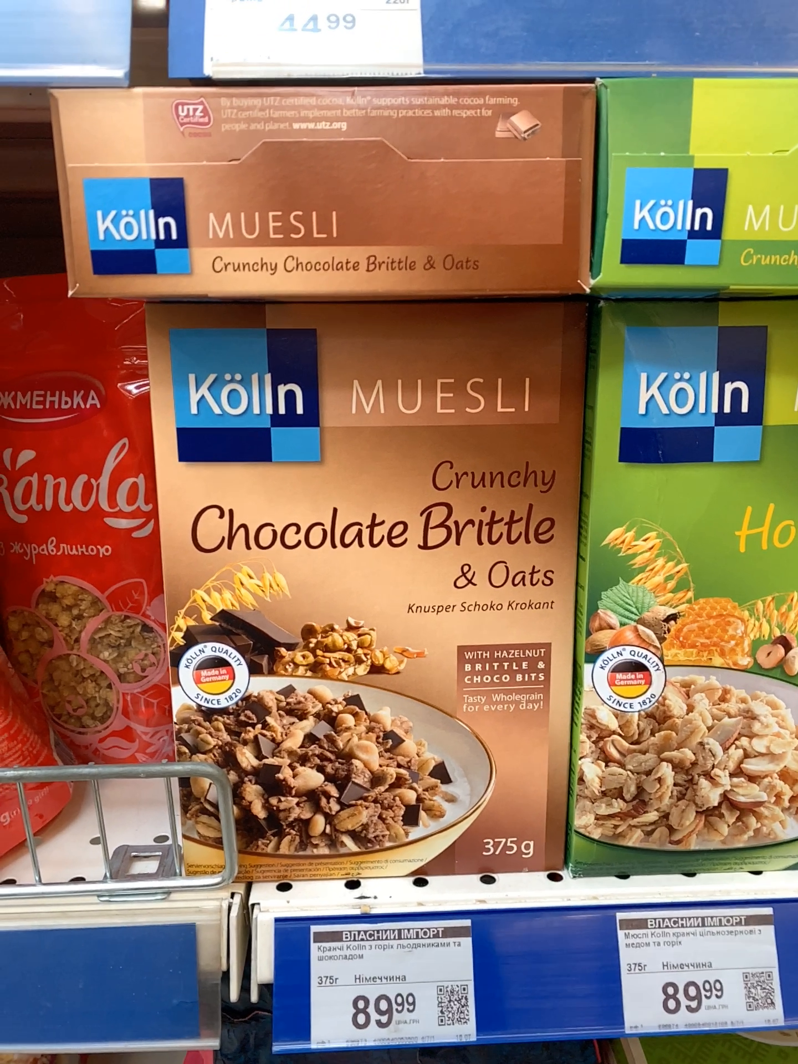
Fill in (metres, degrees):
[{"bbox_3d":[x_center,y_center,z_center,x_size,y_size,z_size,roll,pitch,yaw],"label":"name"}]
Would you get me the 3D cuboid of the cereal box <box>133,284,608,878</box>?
[{"bbox_3d":[-0.010,0.017,0.312,0.150,0.209,0.060,0,12,-2],"label":"cereal box"}]
